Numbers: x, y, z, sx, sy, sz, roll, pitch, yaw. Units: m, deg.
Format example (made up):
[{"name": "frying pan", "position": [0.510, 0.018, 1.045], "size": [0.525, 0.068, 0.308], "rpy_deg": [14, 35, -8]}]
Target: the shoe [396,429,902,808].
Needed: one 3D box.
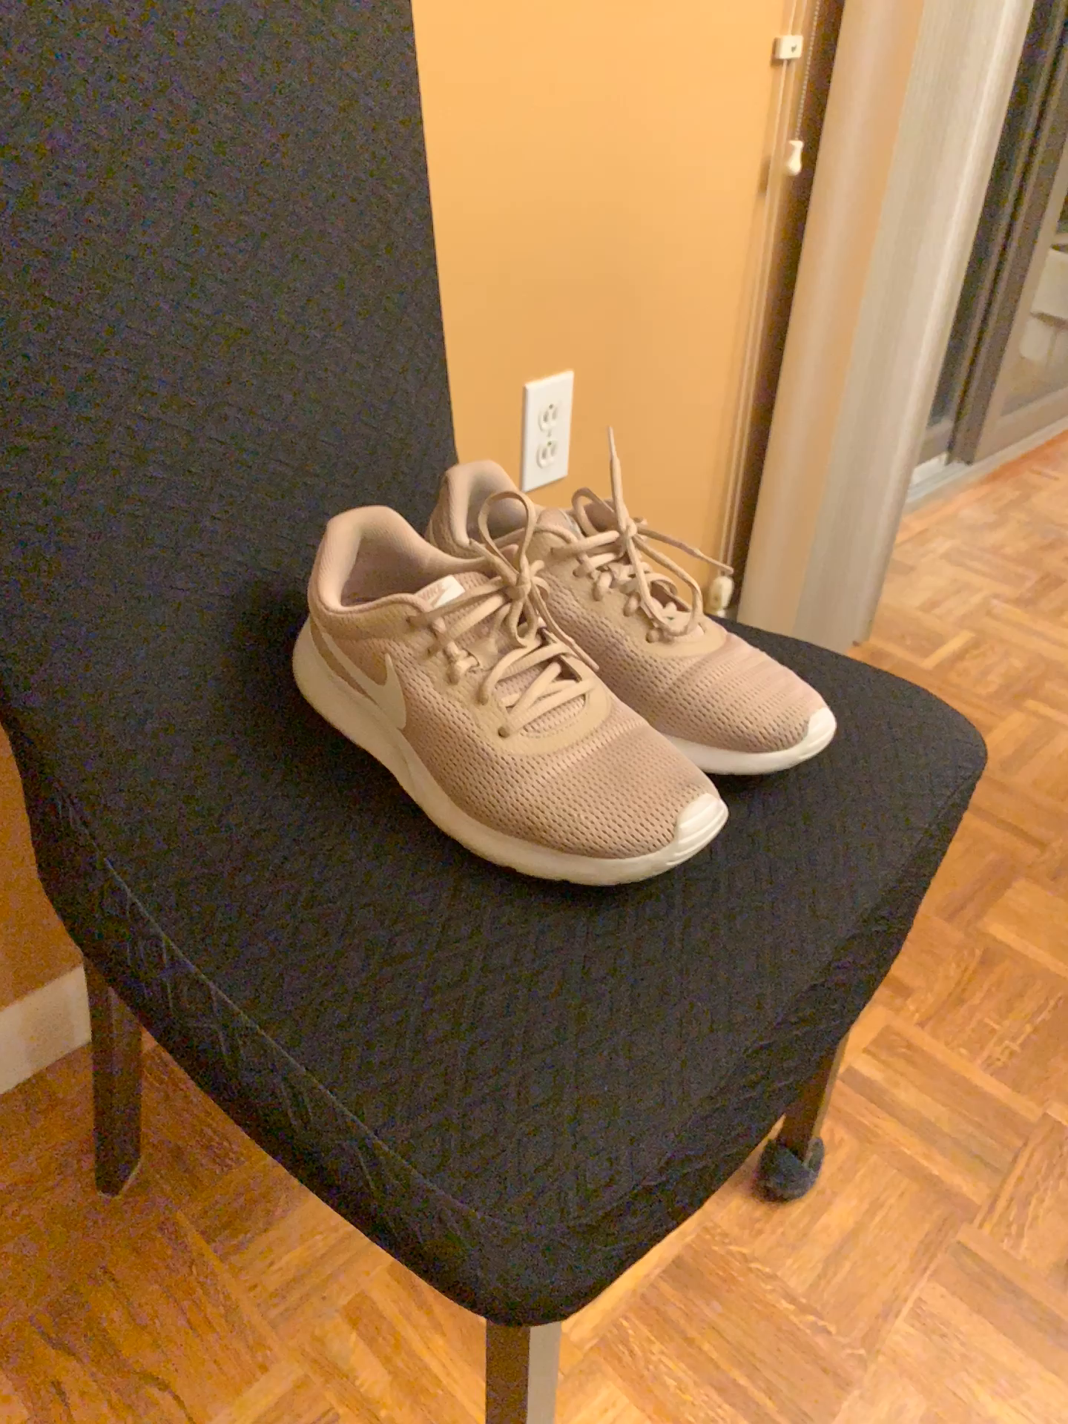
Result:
[{"name": "shoe", "position": [0.051, -0.066, 0.617], "size": [0.261, 0.089, 0.110], "rpy_deg": [30, 43, 33]}]

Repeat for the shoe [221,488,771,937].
[{"name": "shoe", "position": [-0.031, -0.017, 0.563], "size": [0.271, 0.089, 0.110], "rpy_deg": [30, 43, 33]}]
